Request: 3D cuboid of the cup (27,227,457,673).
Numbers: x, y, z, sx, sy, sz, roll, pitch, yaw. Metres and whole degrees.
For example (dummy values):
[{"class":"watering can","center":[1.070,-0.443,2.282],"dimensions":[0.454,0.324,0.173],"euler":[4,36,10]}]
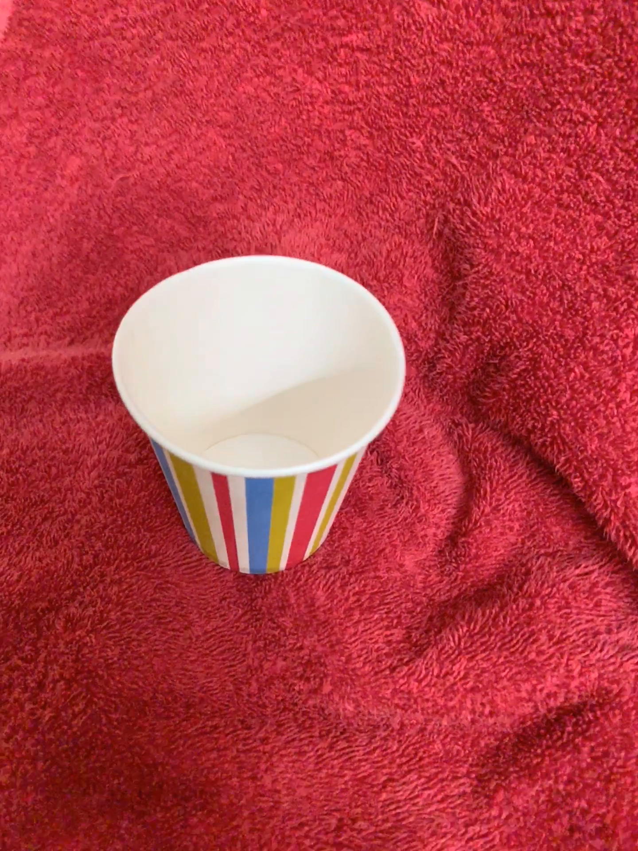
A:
[{"class":"cup","center":[-0.015,0.007,0.175],"dimensions":[0.070,0.069,0.070],"euler":[3,53,-4]}]
